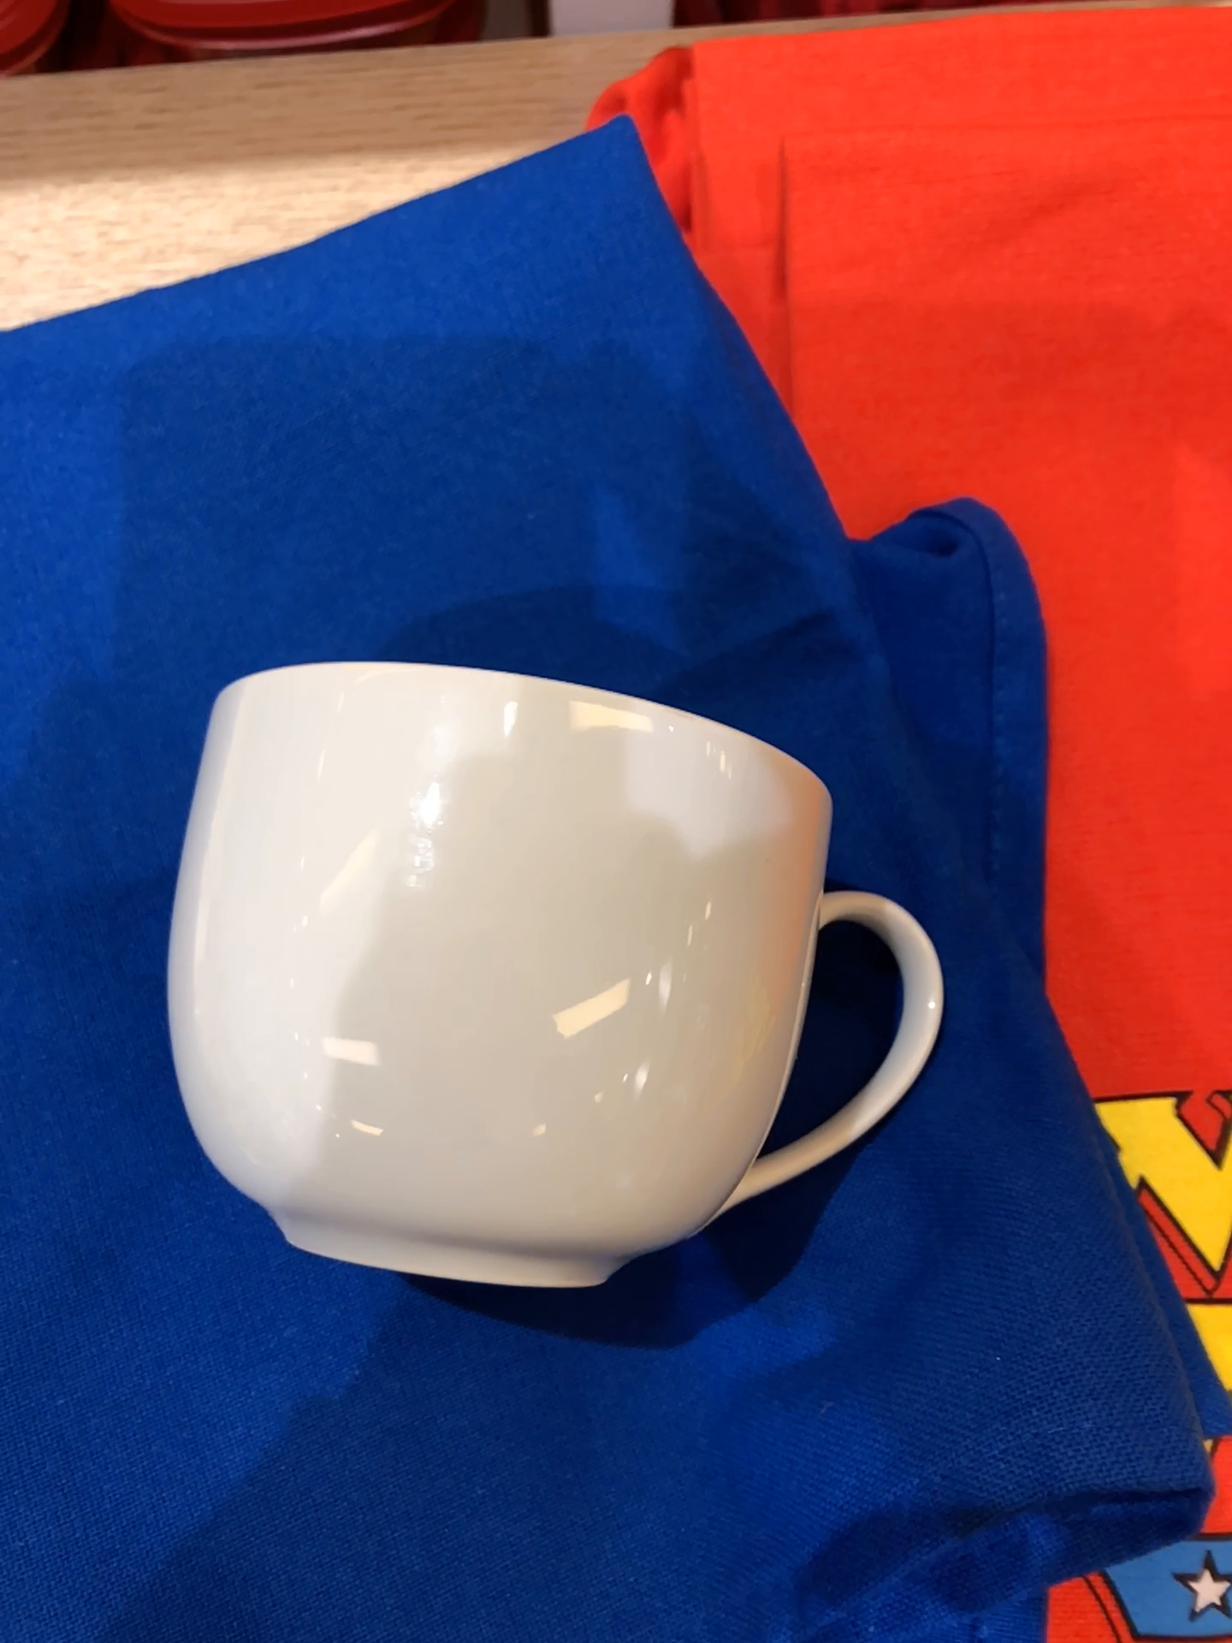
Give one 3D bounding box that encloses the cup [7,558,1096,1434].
[{"bbox_3d":[-0.008,0.033,0.211,0.130,0.080,0.090,15,78,-28],"label":"cup"}]
